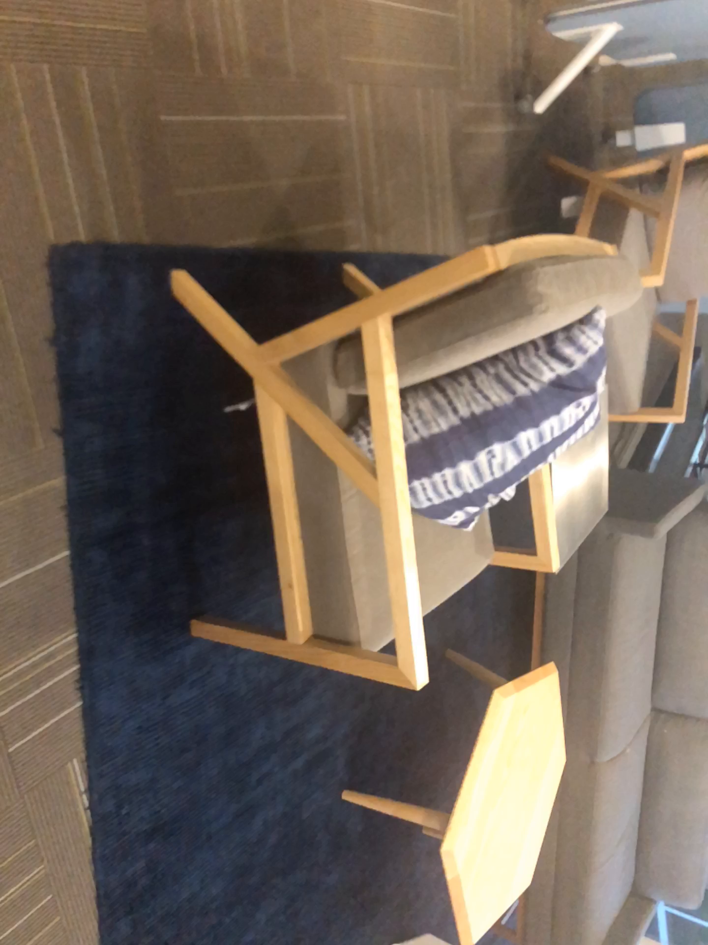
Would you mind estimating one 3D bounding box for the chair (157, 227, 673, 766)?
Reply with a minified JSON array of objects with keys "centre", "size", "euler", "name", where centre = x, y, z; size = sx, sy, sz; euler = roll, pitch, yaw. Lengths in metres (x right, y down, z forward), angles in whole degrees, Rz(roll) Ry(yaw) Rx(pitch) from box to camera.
[{"centre":[0.147,-0.050,1.654],"size":[0.676,0.774,0.829],"euler":[-20,114,-53],"name":"chair"}]
